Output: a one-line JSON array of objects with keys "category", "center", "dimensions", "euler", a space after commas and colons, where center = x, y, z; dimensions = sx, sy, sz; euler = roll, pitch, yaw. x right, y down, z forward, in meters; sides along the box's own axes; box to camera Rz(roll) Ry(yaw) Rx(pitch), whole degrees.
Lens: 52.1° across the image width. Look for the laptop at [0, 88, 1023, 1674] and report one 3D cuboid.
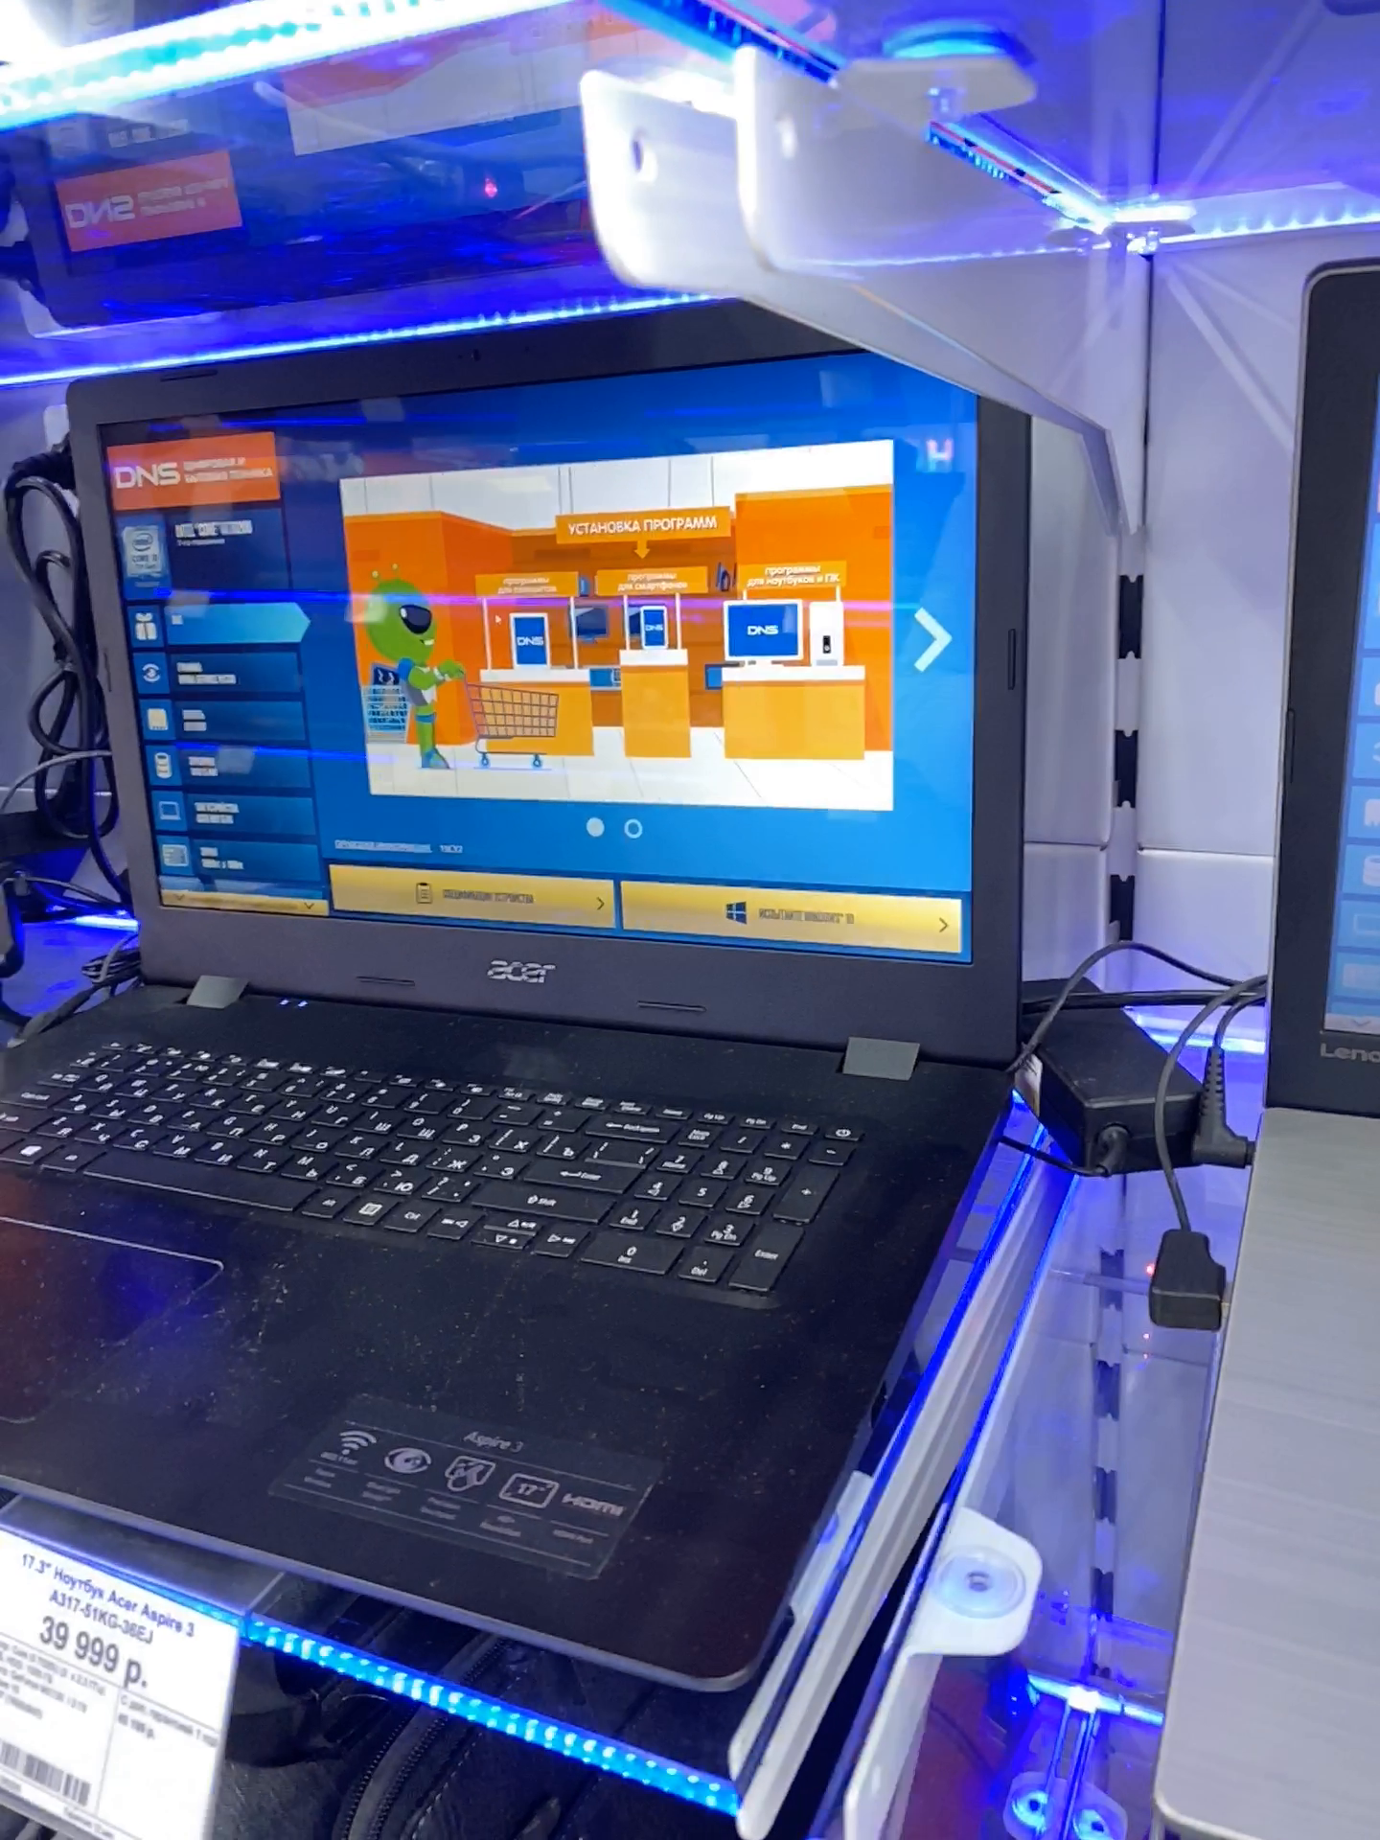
[{"category": "laptop", "center": [-0.133, -0.048, 0.459], "dimensions": [0.422, 0.273, 0.328], "euler": [3, 20, 23]}]
